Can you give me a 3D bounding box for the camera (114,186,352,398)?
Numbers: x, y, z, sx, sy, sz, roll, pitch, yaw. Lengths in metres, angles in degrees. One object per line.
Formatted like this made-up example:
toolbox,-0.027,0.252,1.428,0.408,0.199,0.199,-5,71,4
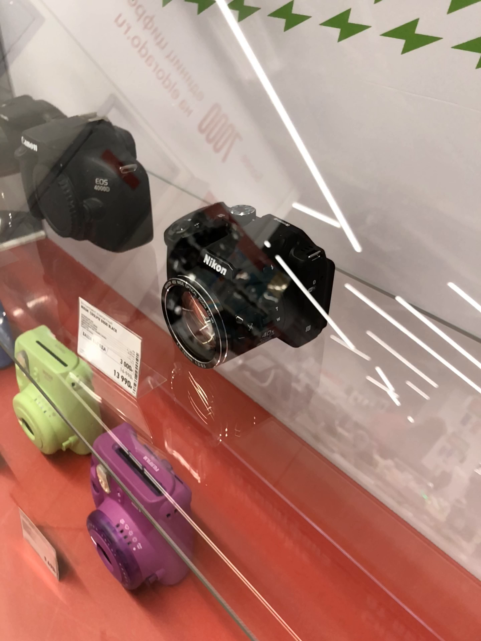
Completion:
camera,-0.007,-0.027,0.359,0.100,0.070,0.115,-27,45,-32
